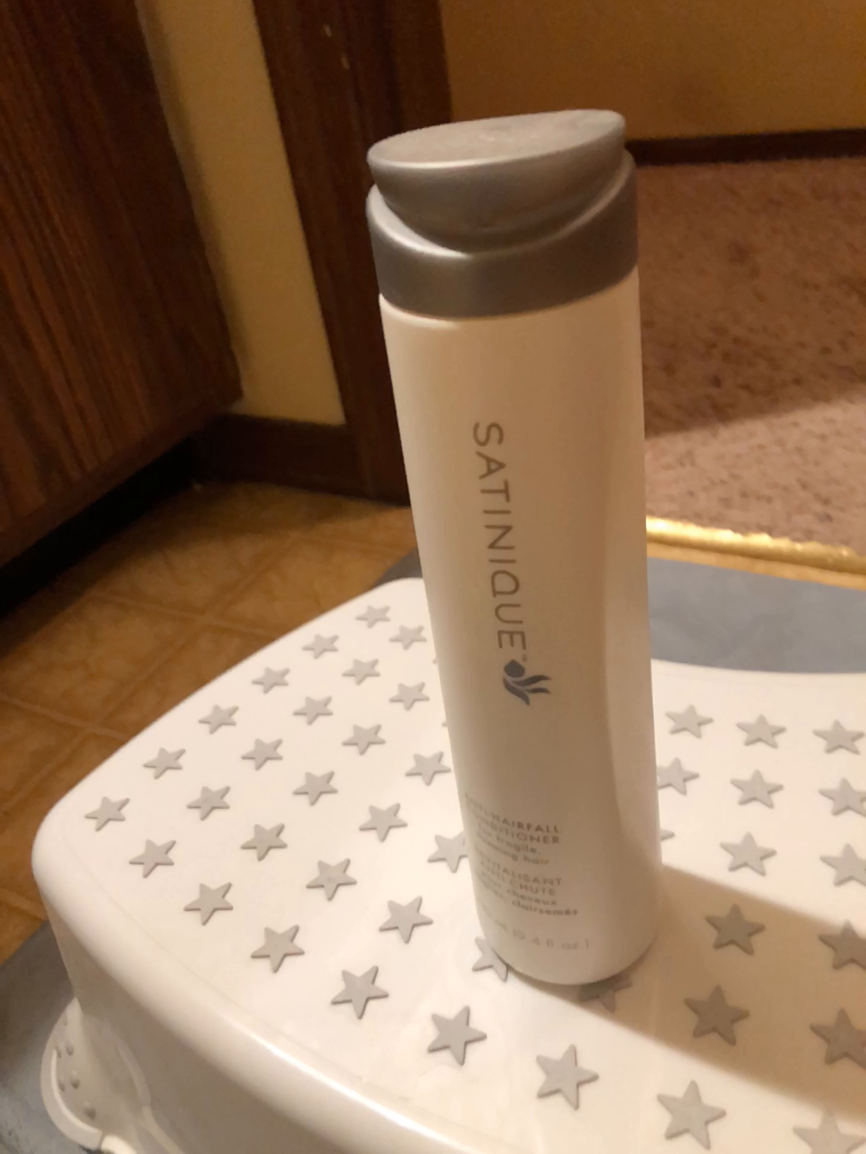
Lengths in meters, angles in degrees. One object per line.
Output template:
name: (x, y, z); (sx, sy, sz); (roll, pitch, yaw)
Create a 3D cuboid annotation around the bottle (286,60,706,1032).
bottle: (0.026, 0.008, 0.215); (0.050, 0.209, 0.050); (-7, 33, 5)
